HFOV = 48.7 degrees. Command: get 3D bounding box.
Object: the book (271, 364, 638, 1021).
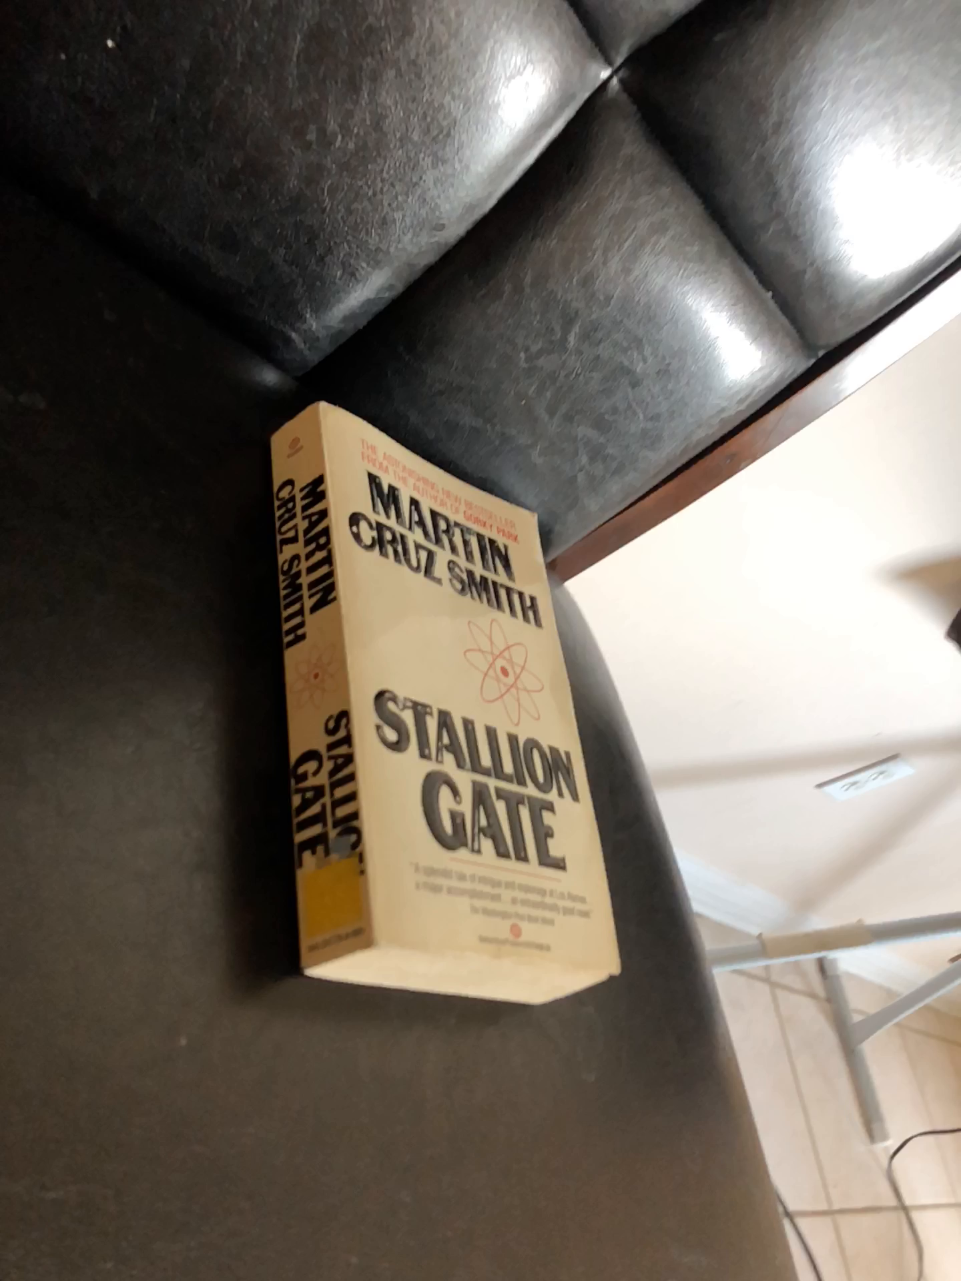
[{"bbox_3d":[-0.011,0.016,0.339,0.111,0.030,0.190,29,43,-47],"label":"book"}]
